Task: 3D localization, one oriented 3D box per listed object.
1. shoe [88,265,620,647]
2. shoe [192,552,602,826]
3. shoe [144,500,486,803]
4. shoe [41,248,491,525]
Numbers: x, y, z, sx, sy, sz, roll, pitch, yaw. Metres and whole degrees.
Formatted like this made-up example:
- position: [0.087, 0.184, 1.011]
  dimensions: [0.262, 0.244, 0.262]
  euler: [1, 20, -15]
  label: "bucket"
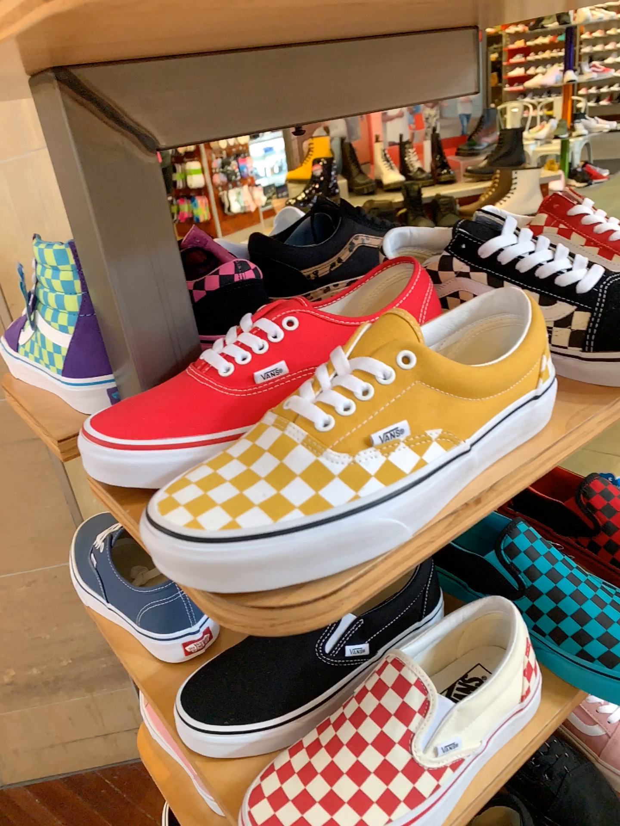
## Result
- position: [0.040, -0.004, 0.332]
  dimensions: [0.268, 0.067, 0.103]
  euler: [-25, 31, -29]
  label: "shoe"
- position: [0.069, 0.207, 0.433]
  dimensions: [0.268, 0.067, 0.103]
  euler: [-24, 30, -28]
  label: "shoe"
- position: [0.014, 0.179, 0.531]
  dimensions: [0.268, 0.067, 0.105]
  euler: [-24, 30, -28]
  label: "shoe"
- position: [-0.016, -0.037, 0.413]
  dimensions: [0.268, 0.067, 0.109]
  euler: [-24, 30, -28]
  label: "shoe"
